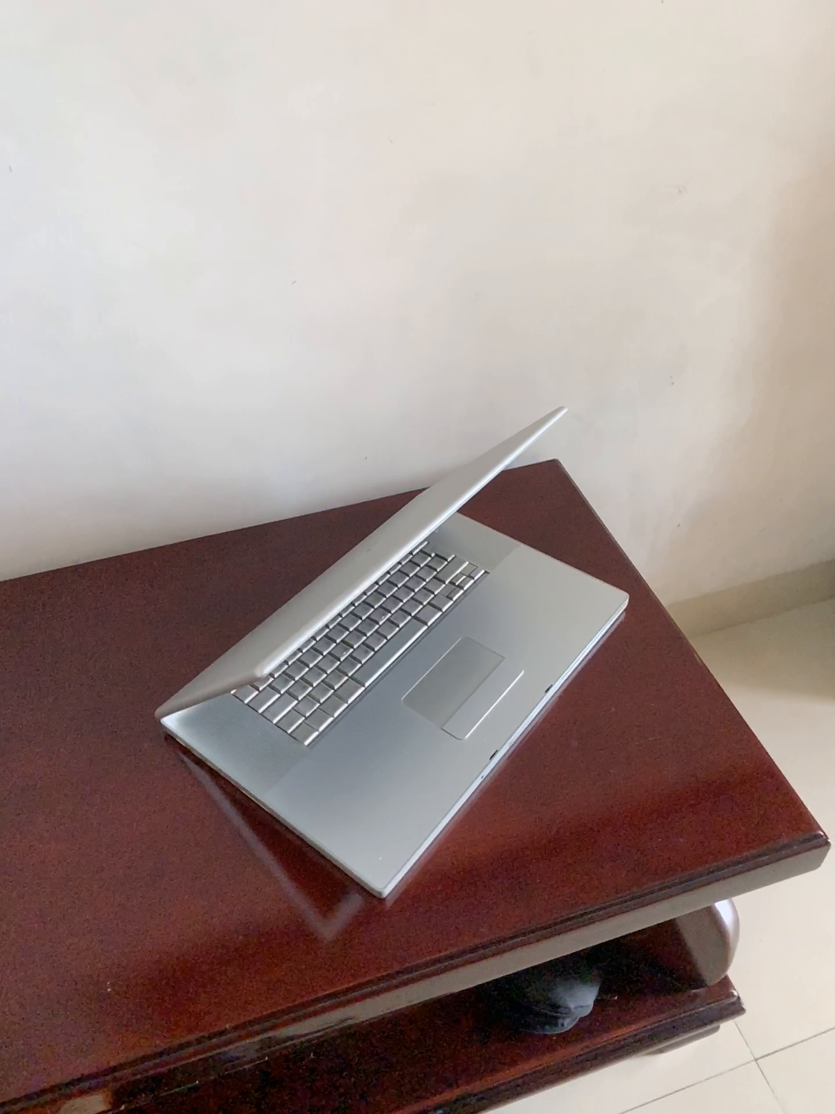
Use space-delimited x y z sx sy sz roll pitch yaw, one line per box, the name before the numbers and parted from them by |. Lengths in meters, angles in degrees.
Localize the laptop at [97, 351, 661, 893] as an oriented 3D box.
laptop | -0.009 0.023 0.763 0.265 0.193 0.400 27 49 27
